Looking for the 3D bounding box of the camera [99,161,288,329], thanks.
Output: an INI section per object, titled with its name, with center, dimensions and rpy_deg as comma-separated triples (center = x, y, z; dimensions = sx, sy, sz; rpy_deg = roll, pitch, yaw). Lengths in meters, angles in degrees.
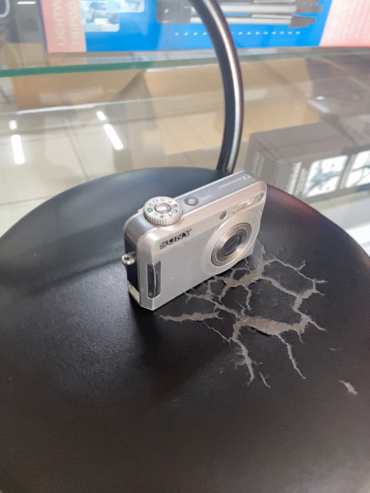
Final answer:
[camera]
center = 0.007, -0.005, 0.225
dimensions = 0.100, 0.050, 0.040
rpy_deg = -27, 52, -30
